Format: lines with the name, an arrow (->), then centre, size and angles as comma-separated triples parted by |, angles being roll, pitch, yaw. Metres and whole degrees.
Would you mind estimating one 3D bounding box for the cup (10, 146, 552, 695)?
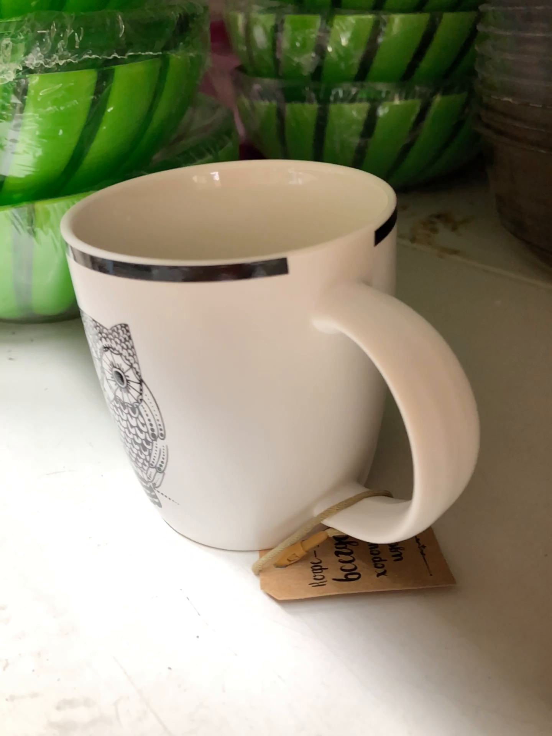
cup -> -0.001, -0.001, 0.172 | 0.077, 0.093, 0.110 | -28, 38, -34
